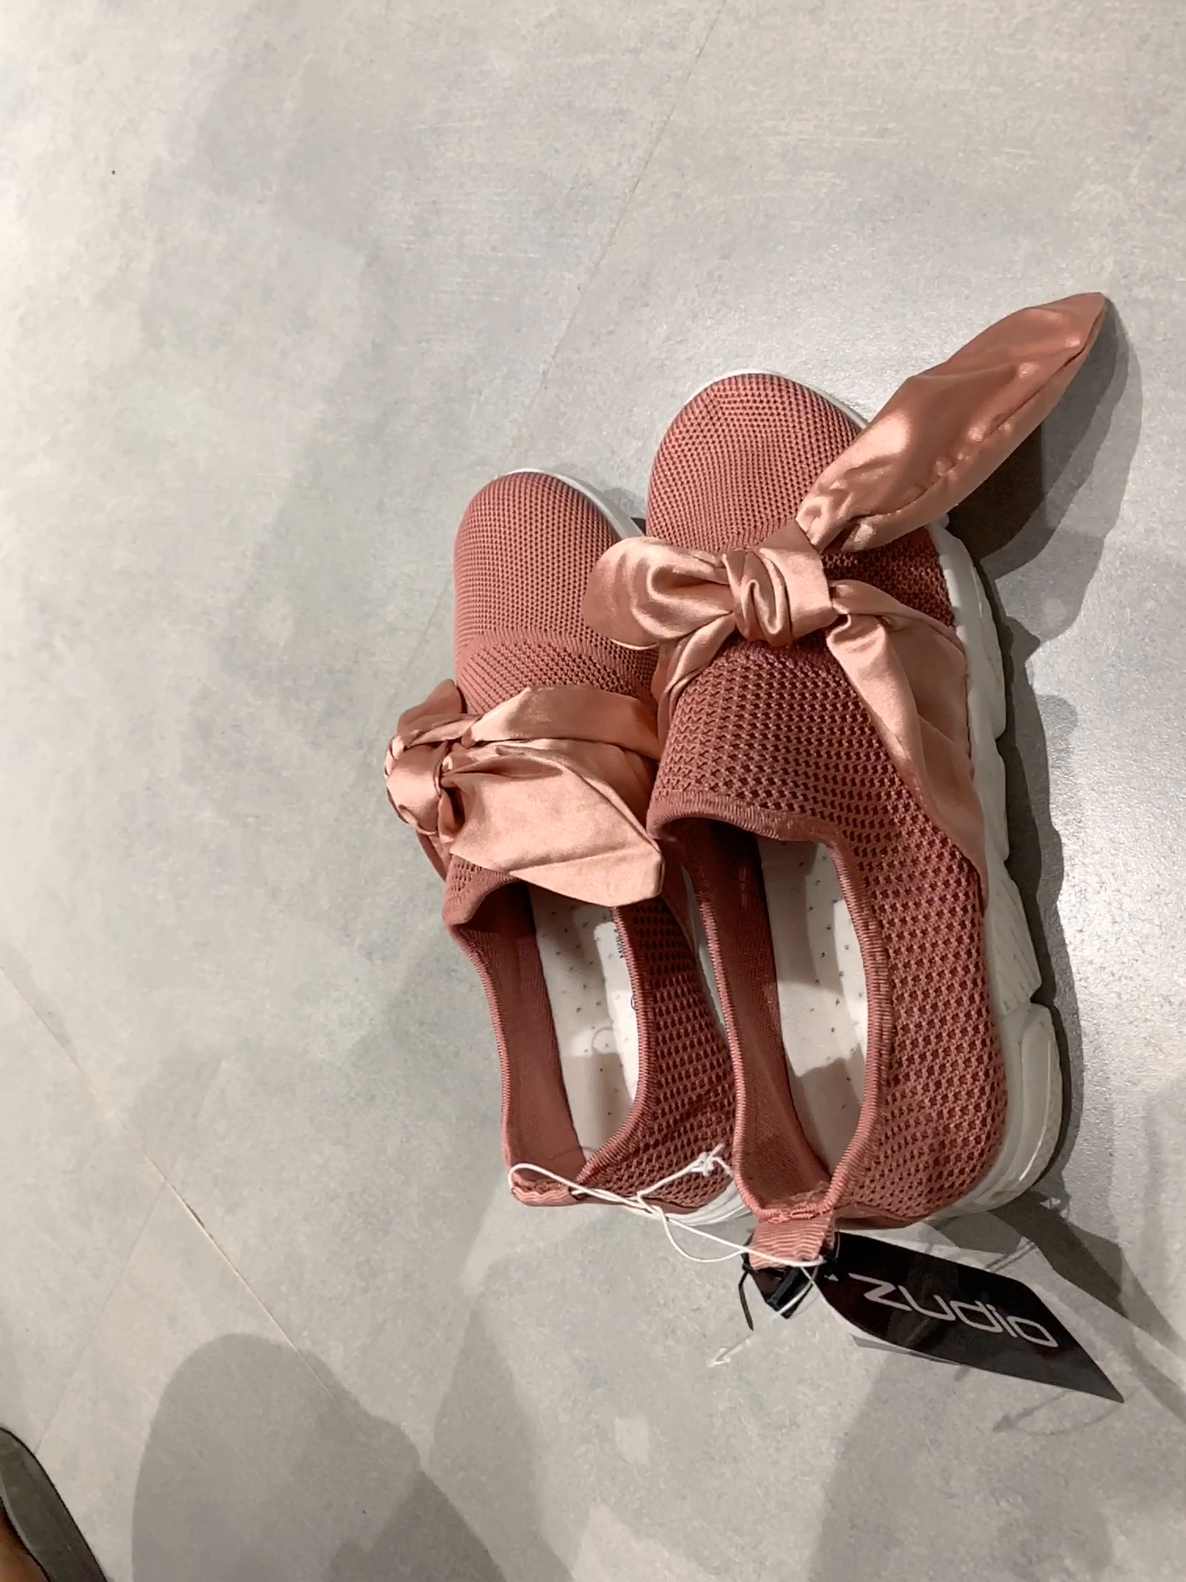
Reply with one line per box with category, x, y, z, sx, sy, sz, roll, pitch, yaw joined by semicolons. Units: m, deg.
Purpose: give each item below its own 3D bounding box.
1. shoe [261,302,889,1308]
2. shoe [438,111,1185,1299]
shoe;-0.011;0.007;0.392;0.110;0.100;0.270;-21;75;32
shoe;0.056;-0.018;0.338;0.110;0.100;0.270;-21;75;32
